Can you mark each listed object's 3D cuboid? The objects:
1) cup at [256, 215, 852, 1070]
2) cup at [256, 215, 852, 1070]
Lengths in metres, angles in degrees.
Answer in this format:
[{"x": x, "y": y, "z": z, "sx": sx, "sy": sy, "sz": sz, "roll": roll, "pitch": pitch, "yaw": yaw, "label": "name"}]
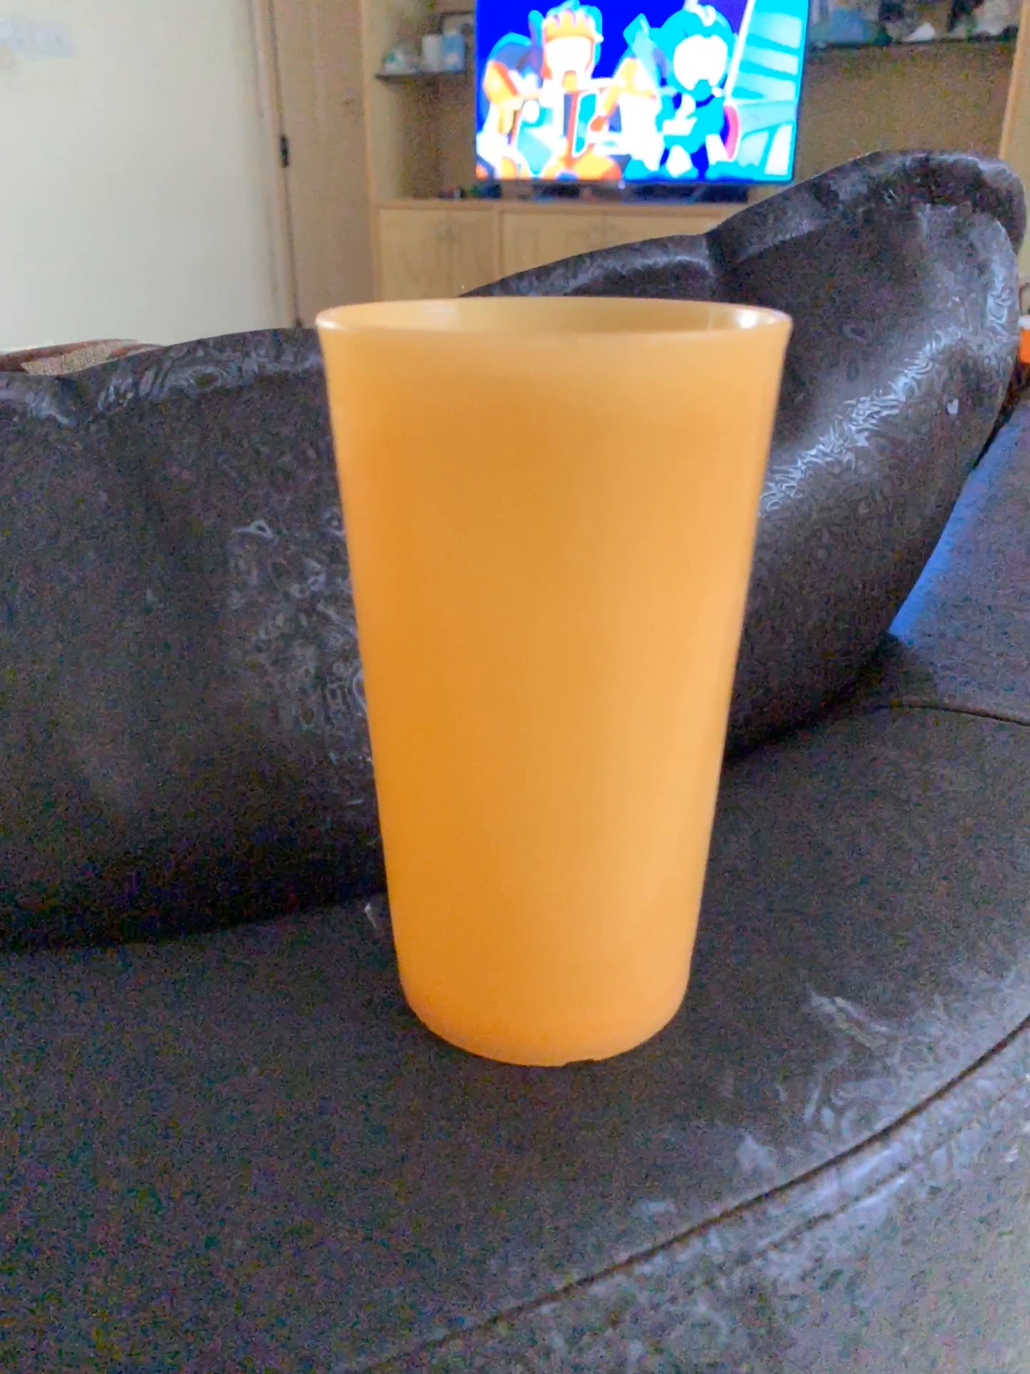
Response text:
[{"x": 0.005, "y": -0.010, "z": 0.184, "sx": 0.070, "sy": 0.129, "sz": 0.071, "roll": 0, "pitch": 25, "yaw": 0, "label": "cup"}, {"x": 0.005, "y": -0.010, "z": 0.184, "sx": 0.070, "sy": 0.129, "sz": 0.071, "roll": 0, "pitch": 25, "yaw": 0, "label": "cup"}]
